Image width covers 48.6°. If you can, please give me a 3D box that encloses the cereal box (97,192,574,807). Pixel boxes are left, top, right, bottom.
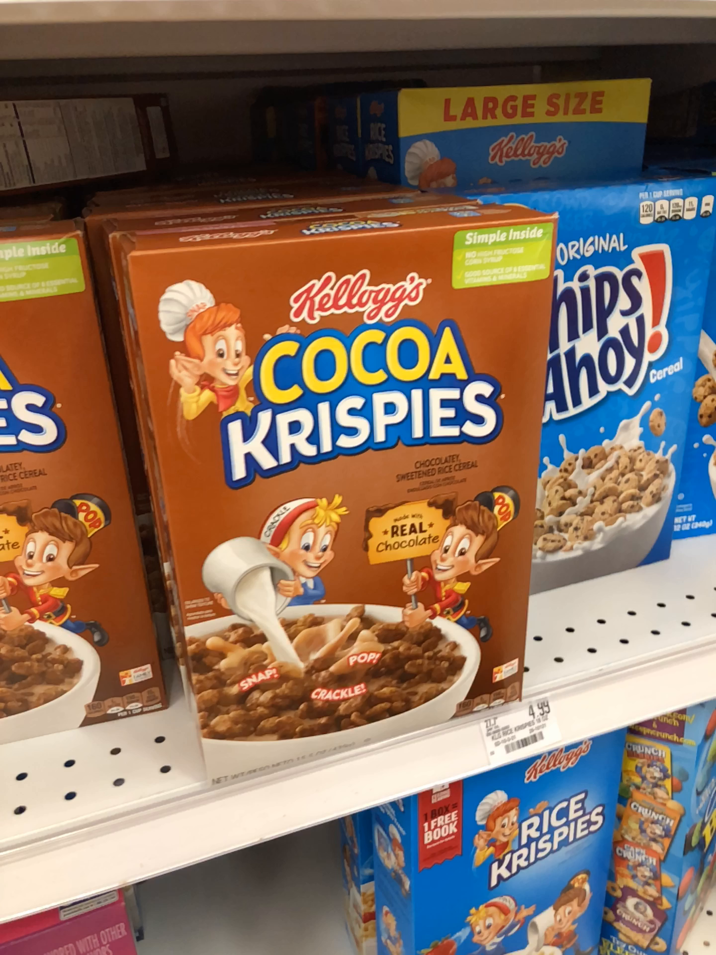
[{"bbox_3d":[-0.006,0.013,0.416,0.200,0.289,0.070,-11,28,-17],"label":"cereal box"}]
